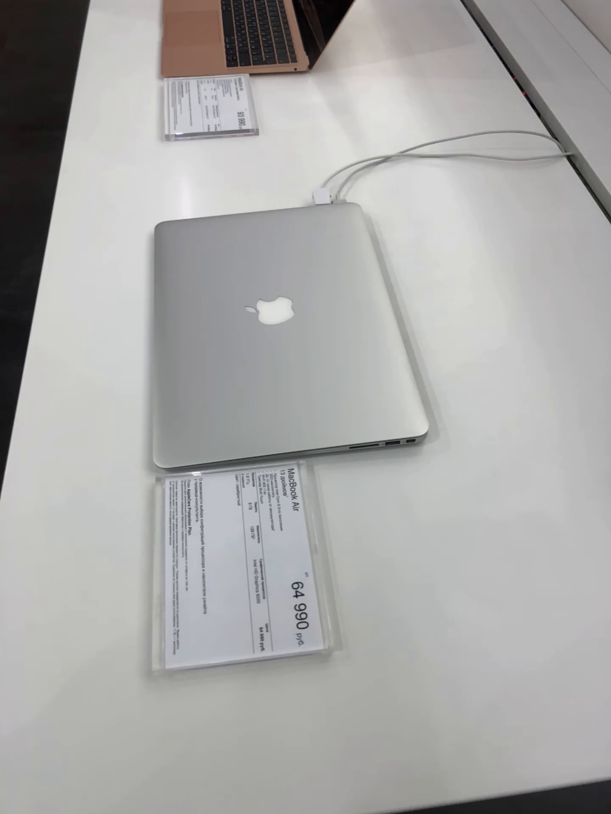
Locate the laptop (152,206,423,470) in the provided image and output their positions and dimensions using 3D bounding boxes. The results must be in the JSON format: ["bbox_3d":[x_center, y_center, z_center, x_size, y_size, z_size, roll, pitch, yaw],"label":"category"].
[{"bbox_3d":[-0.031,-0.083,0.617,0.209,0.008,0.308,-6,51,-3],"label":"laptop"}]
